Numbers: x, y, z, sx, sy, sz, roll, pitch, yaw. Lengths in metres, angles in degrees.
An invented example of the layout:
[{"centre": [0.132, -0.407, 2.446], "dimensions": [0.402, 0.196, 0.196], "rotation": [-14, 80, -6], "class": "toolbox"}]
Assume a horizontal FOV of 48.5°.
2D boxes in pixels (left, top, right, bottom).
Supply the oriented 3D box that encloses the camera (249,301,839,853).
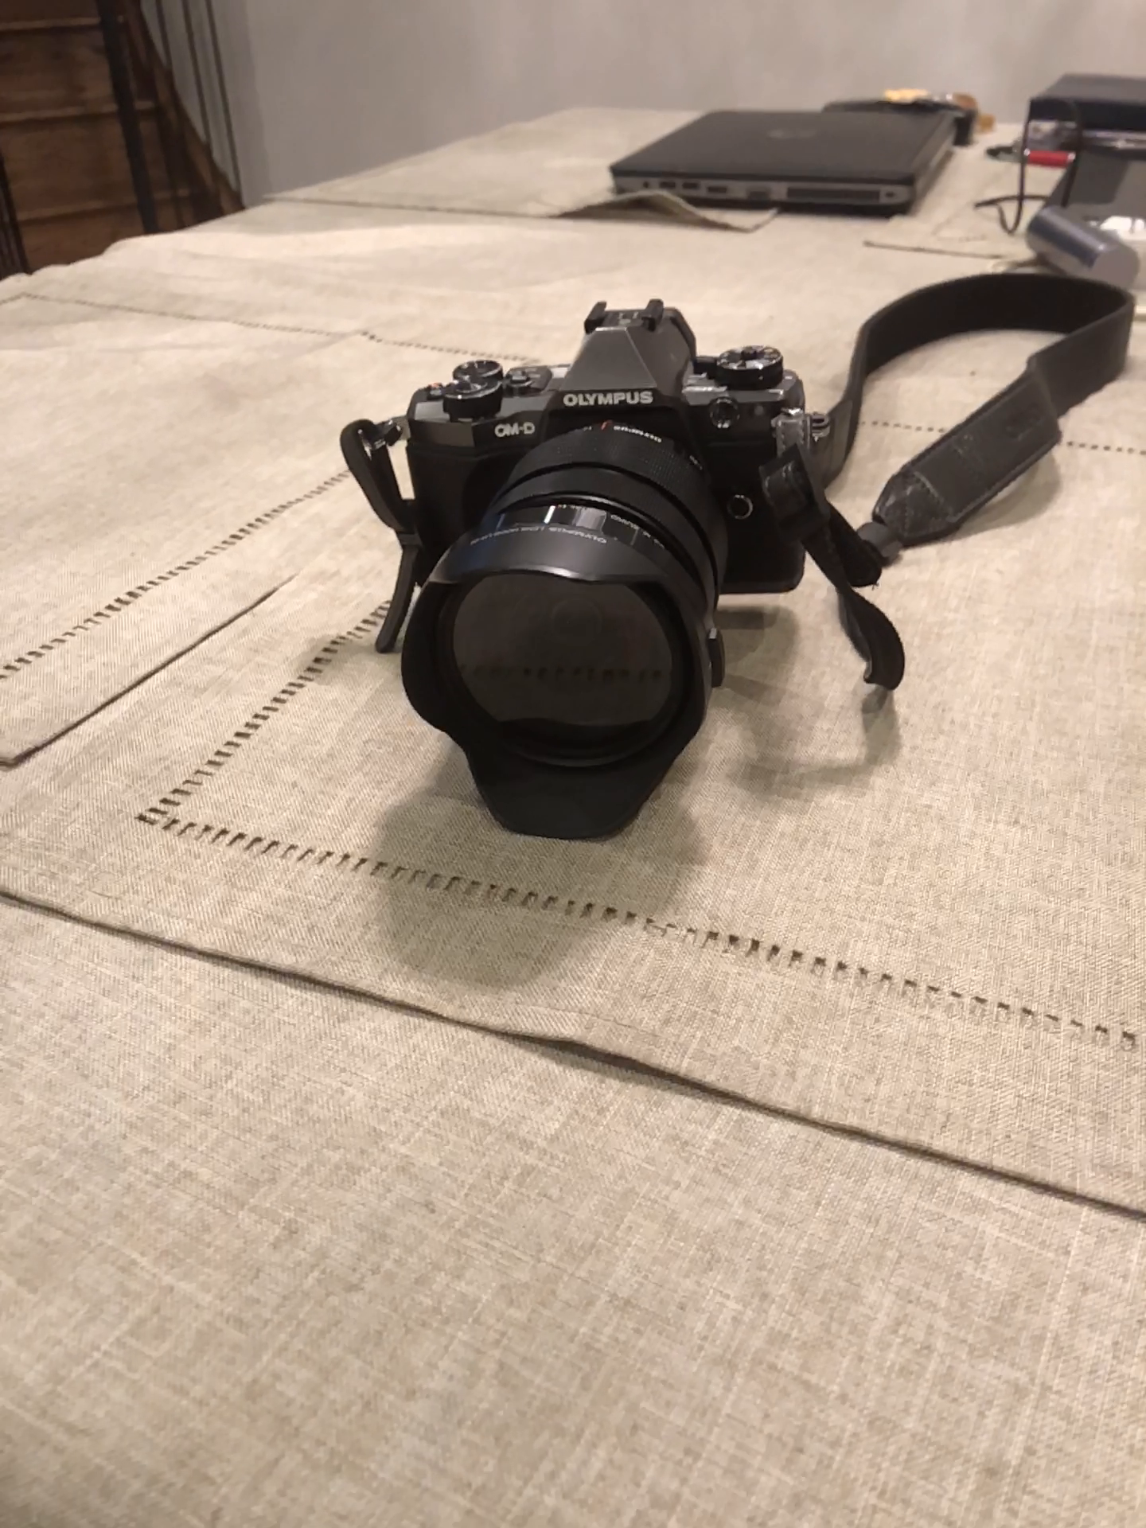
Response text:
[{"centre": [0.003, -0.064, 0.359], "dimensions": [0.124, 0.092, 0.165], "rotation": [3, 32, 6], "class": "camera"}]
